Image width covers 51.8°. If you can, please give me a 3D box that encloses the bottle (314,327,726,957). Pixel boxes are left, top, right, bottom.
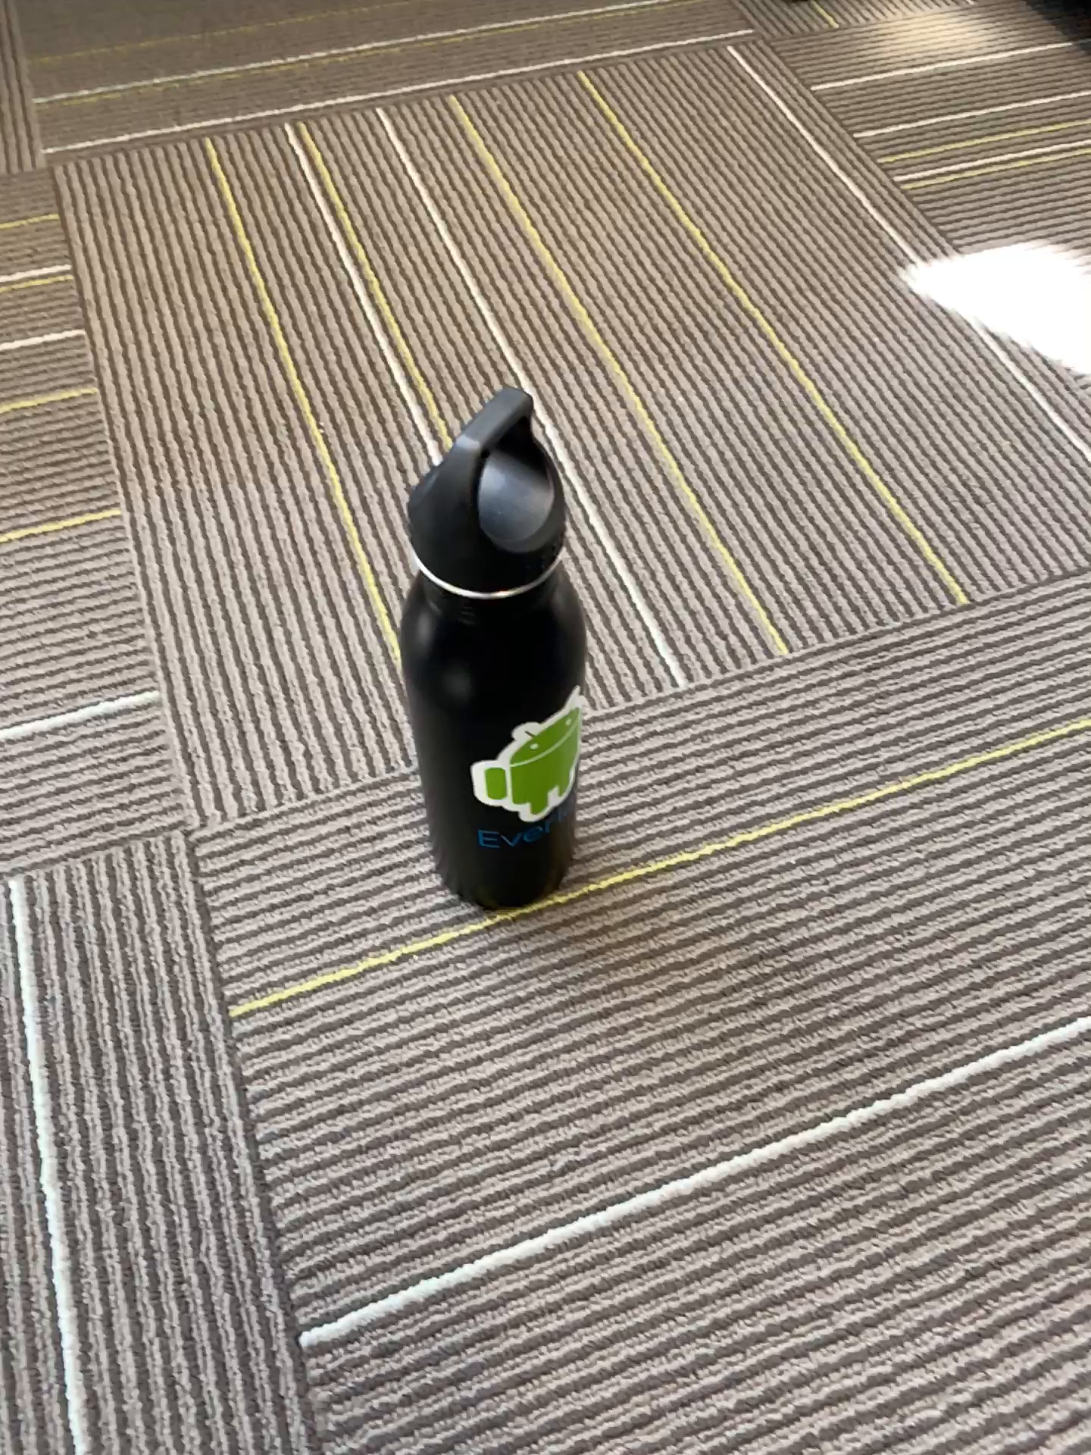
[{"bbox_3d":[-0.010,-0.014,0.429,0.090,0.239,0.080,-37,65,-22],"label":"bottle"}]
